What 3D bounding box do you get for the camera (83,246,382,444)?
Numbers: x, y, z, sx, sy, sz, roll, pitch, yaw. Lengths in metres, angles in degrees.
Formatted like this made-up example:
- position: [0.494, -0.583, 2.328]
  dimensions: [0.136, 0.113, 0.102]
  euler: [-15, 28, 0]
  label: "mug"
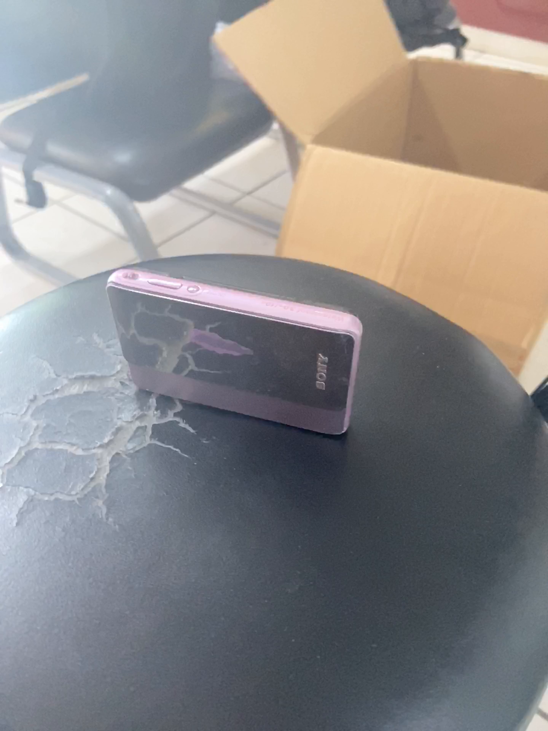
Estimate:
- position: [-0.014, -0.008, 0.217]
  dimensions: [0.100, 0.050, 0.030]
  euler: [12, 46, 12]
  label: "camera"
